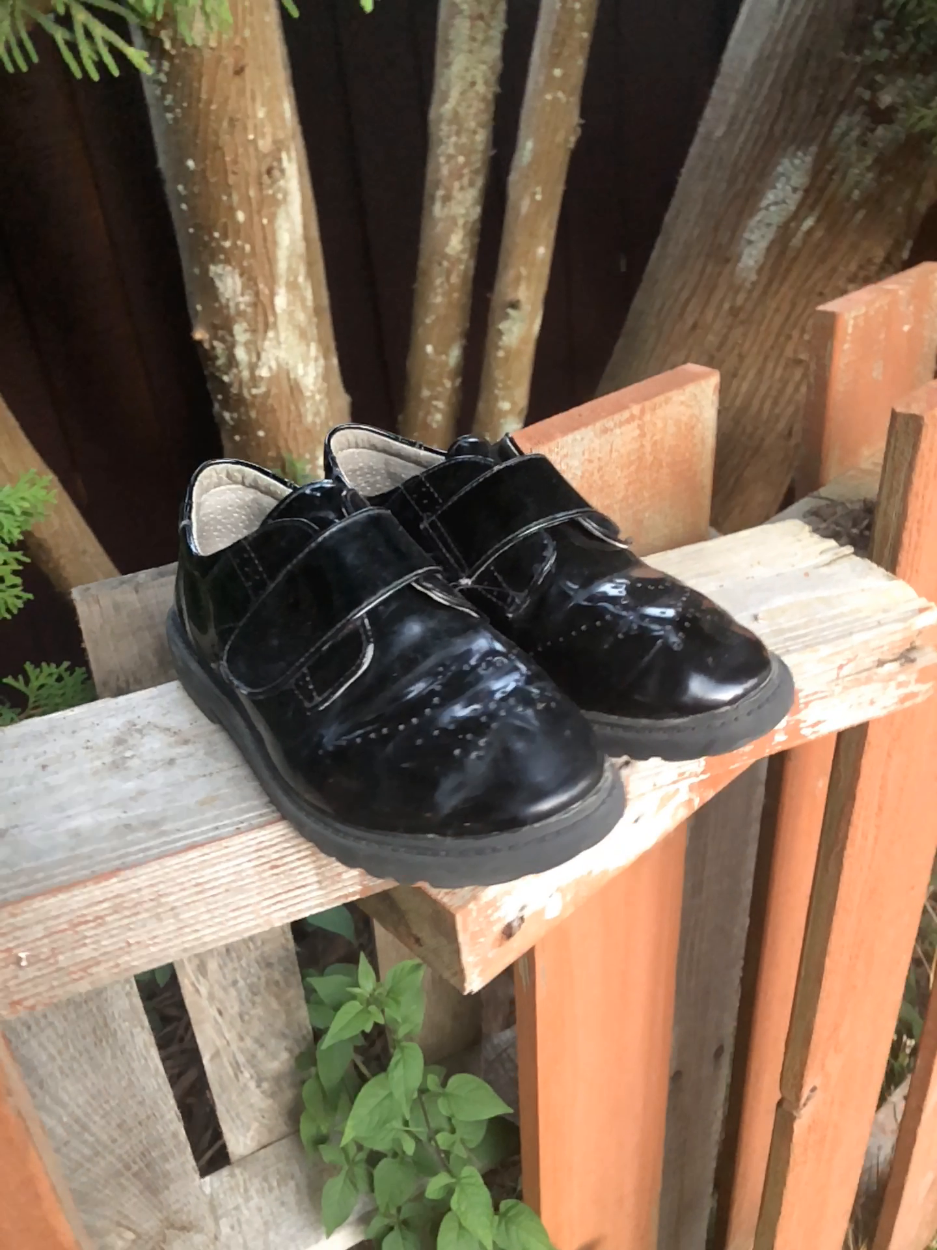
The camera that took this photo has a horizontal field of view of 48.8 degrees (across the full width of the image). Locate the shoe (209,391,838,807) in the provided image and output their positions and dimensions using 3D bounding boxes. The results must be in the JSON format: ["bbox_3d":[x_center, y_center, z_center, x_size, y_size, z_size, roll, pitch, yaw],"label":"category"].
[{"bbox_3d":[0.009,-0.027,0.396,0.231,0.070,0.090,22,39,40],"label":"shoe"}]

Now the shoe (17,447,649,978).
[{"bbox_3d":[-0.060,0.007,0.362,0.090,0.070,0.241,-27,35,-33],"label":"shoe"}]
